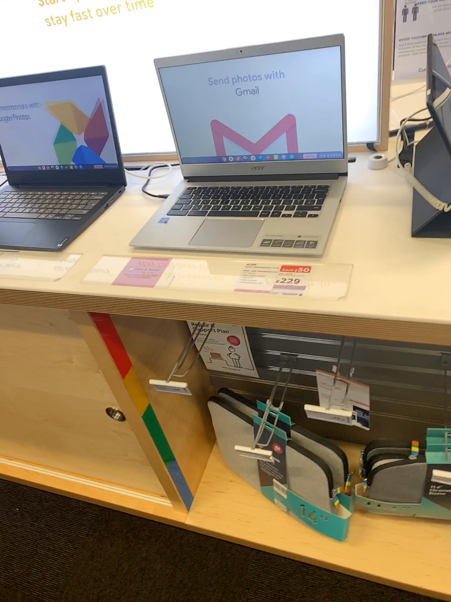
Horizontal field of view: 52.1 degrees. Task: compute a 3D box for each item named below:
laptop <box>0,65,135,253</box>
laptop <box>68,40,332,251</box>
[{"bbox_3d":[-0.404,-0.269,0.864,0.308,0.204,0.284,6,44,22],"label":"laptop"},{"bbox_3d":[-0.012,-0.235,0.702,0.303,0.206,0.238,4,42,20],"label":"laptop"}]
